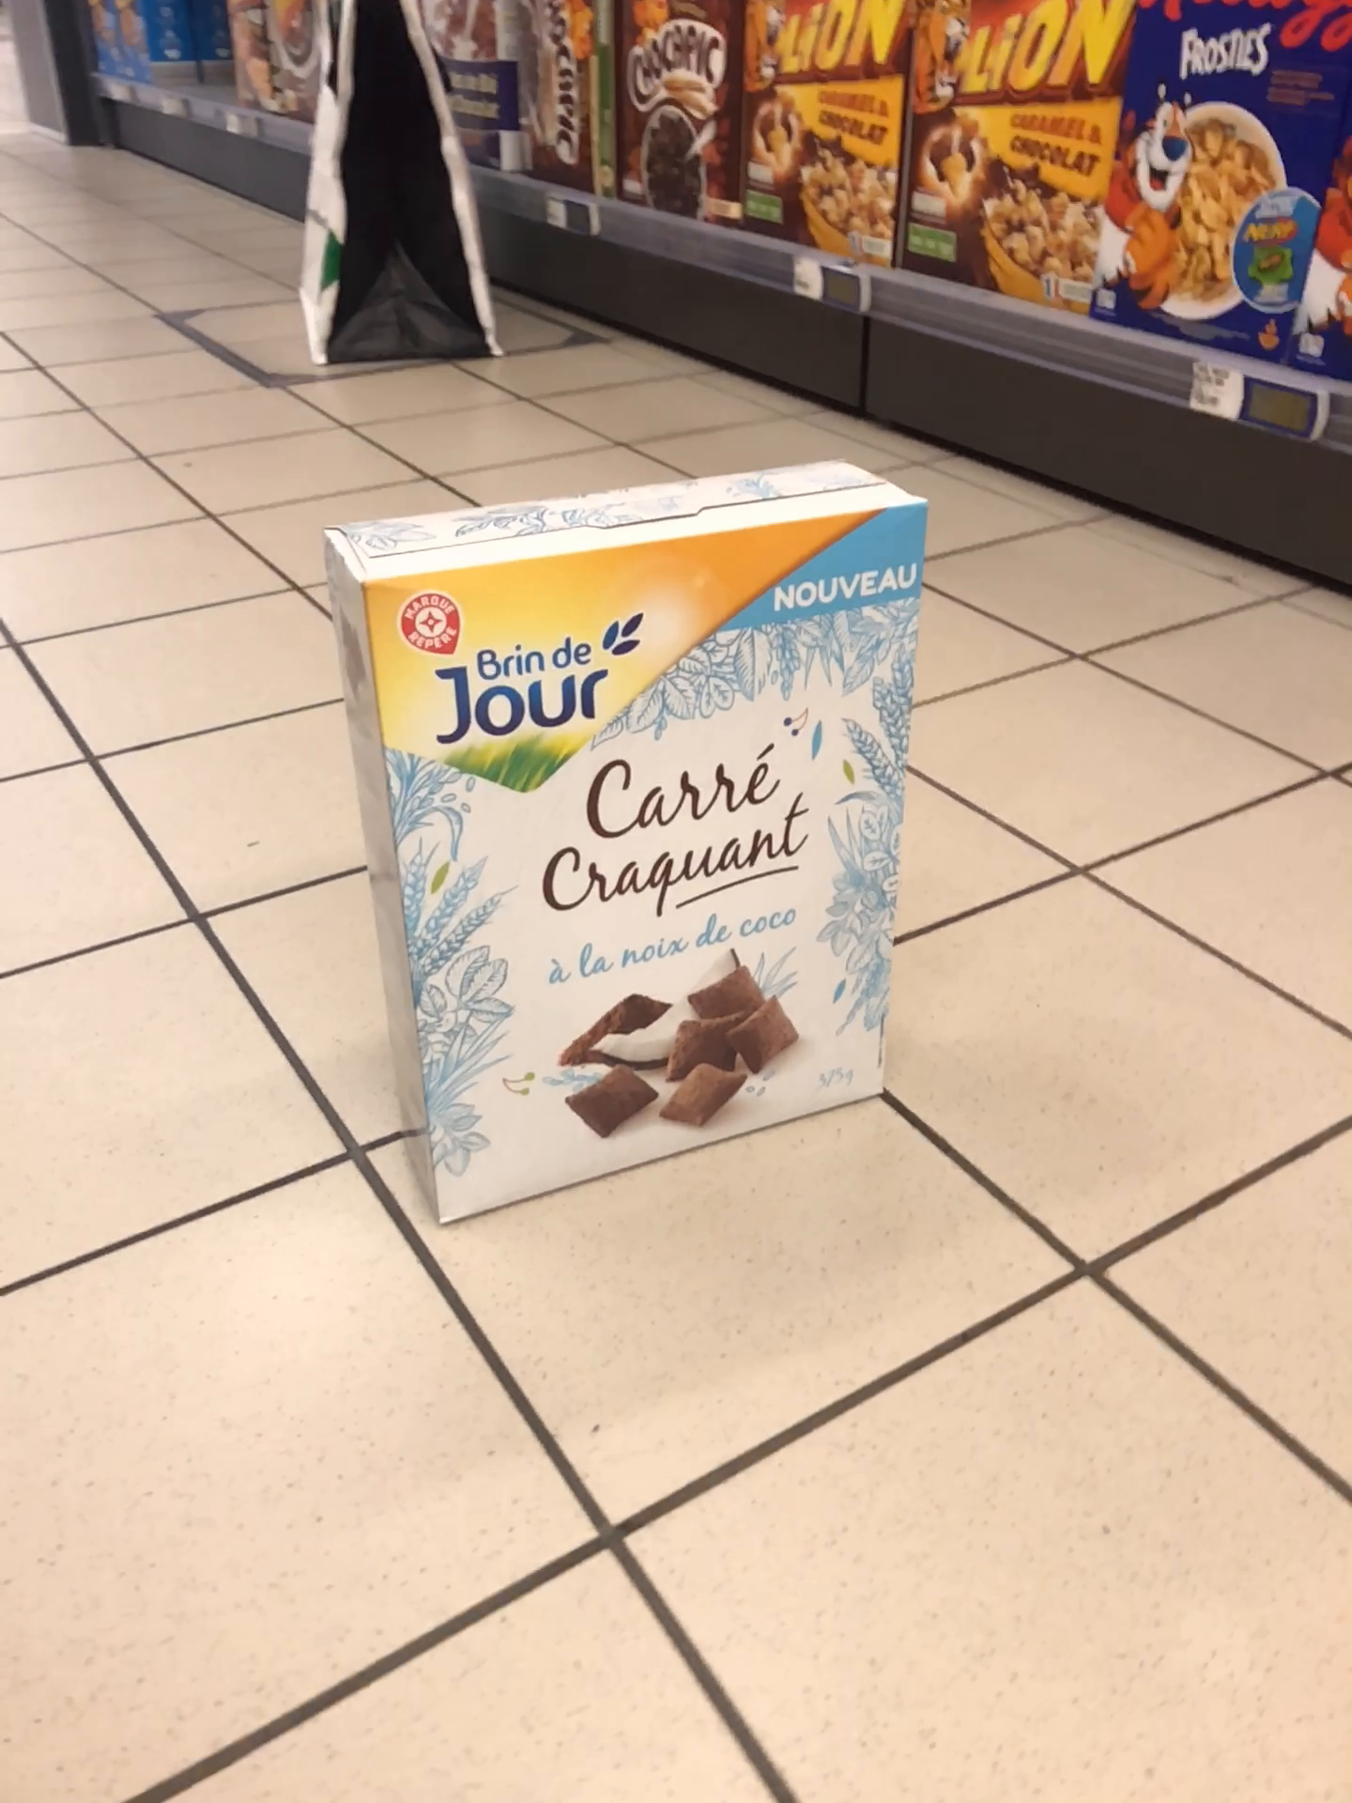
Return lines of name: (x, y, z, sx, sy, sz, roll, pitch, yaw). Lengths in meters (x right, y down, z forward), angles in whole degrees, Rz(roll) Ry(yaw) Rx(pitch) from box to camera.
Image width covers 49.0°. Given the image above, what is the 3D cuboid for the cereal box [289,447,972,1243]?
cereal box: (-0.011, -0.019, 0.522, 0.200, 0.239, 0.070, -13, 33, -18)
